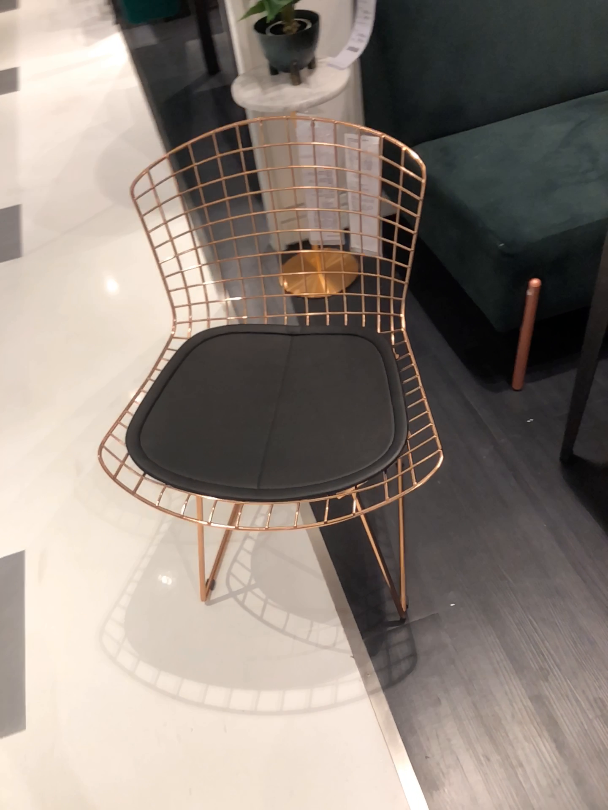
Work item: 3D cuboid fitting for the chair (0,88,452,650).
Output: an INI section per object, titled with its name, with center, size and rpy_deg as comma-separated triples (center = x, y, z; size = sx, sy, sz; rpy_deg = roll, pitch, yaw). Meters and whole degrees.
[chair]
center = -0.032, -0.023, 1.135
size = 0.520, 0.745, 0.544
rpy_deg = 0, 47, 10
